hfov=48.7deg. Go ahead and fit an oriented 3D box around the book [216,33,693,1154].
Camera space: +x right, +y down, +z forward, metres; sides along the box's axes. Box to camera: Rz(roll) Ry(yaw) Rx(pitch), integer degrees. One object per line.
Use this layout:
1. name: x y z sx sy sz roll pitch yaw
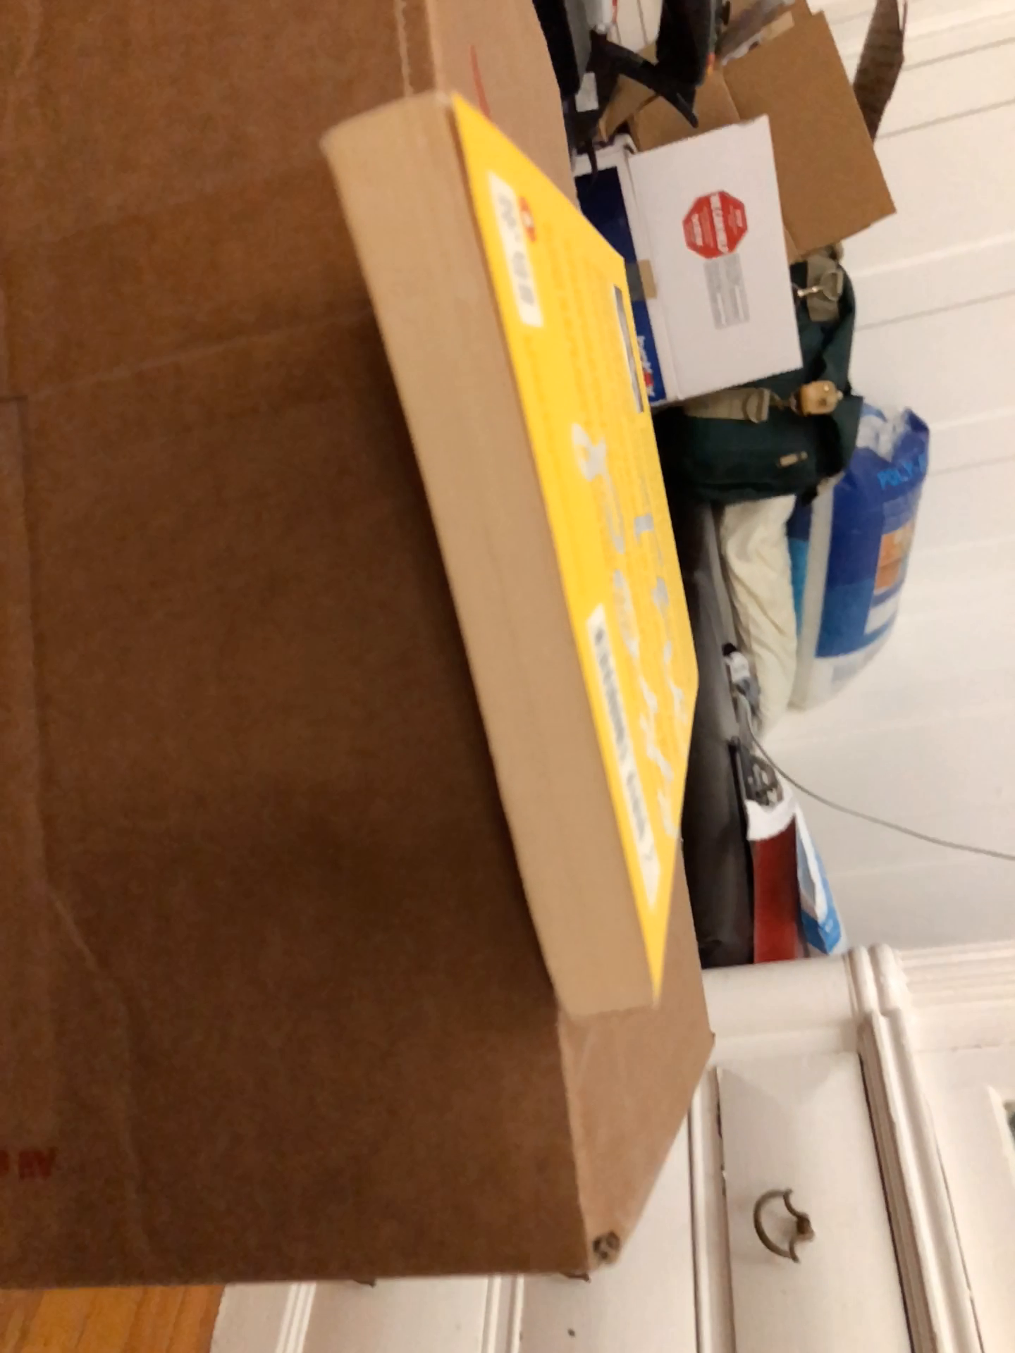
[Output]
1. book: 0.012 -0.028 0.249 0.211 0.020 0.150 -50 129 -71
